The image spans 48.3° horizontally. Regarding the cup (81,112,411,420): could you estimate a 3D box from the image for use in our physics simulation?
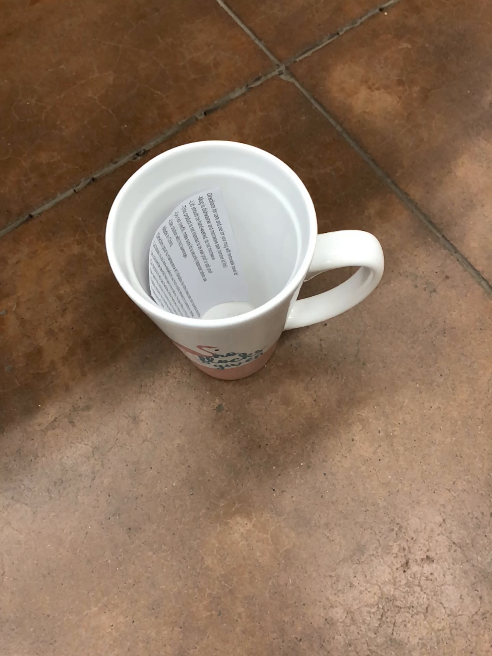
[{"bbox_3d":[-0.002,-0.020,0.299,0.130,0.140,0.100,-7,70,0],"label":"cup"}]
